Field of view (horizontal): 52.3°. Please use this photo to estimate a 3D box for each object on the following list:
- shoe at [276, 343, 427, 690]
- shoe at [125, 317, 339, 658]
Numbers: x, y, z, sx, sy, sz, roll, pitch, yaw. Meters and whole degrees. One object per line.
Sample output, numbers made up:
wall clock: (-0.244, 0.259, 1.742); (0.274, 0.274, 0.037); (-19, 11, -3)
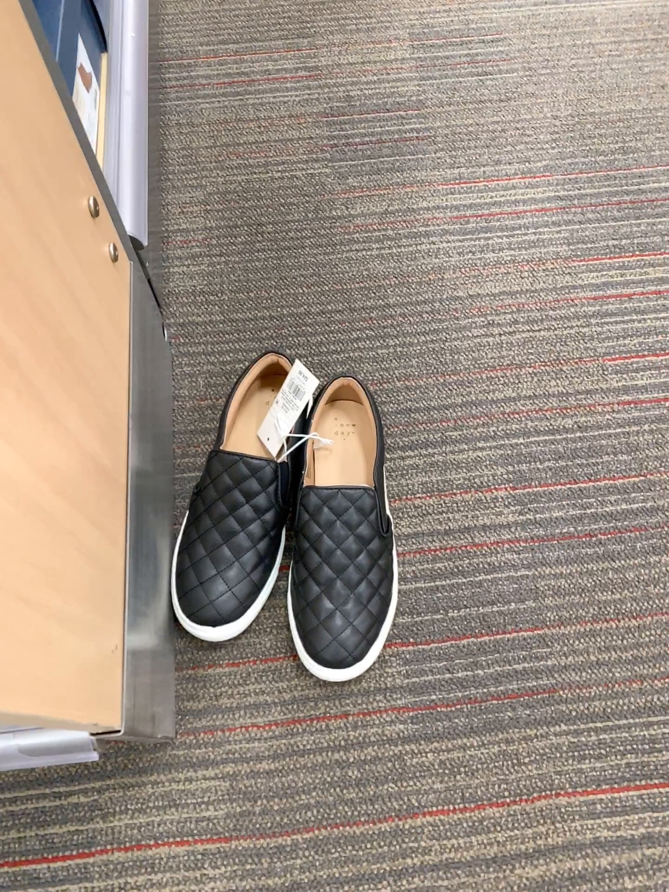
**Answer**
shoe: (0.012, 0.054, 0.550); (0.100, 0.100, 0.261); (0, 65, 1)
shoe: (-0.073, 0.032, 0.586); (0.100, 0.100, 0.261); (11, 66, 6)
